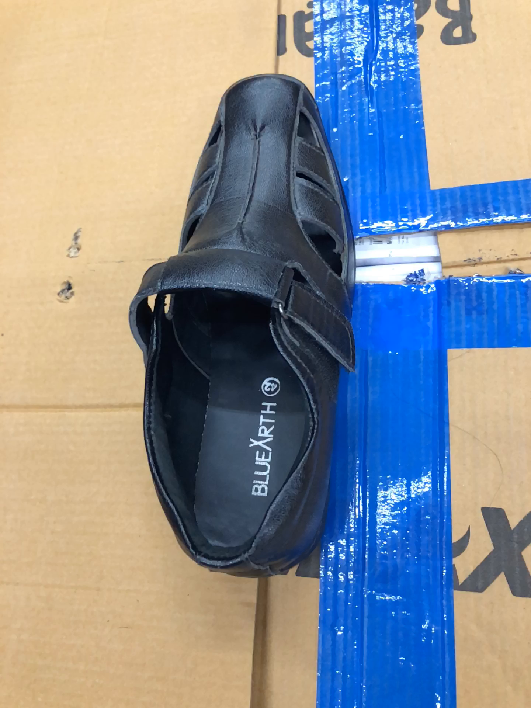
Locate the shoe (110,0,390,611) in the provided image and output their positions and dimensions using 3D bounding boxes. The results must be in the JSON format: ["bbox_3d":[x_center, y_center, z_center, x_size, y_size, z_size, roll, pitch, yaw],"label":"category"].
[{"bbox_3d":[0.003,-0.043,0.300,0.100,0.097,0.304,-3,73,13],"label":"shoe"}]
